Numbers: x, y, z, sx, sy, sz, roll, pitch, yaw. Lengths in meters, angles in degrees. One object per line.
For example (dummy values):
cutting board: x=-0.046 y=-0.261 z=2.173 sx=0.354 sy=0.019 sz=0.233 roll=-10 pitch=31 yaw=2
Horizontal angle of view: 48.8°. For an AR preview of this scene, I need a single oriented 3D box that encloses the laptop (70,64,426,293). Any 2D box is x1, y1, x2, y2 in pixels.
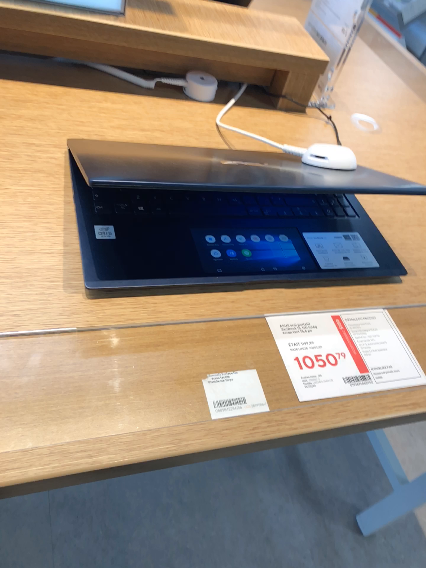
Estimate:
laptop: x=0.042 y=-0.111 z=0.492 sx=0.352 sy=0.098 sz=0.209 roll=-2 pitch=49 yaw=-22
